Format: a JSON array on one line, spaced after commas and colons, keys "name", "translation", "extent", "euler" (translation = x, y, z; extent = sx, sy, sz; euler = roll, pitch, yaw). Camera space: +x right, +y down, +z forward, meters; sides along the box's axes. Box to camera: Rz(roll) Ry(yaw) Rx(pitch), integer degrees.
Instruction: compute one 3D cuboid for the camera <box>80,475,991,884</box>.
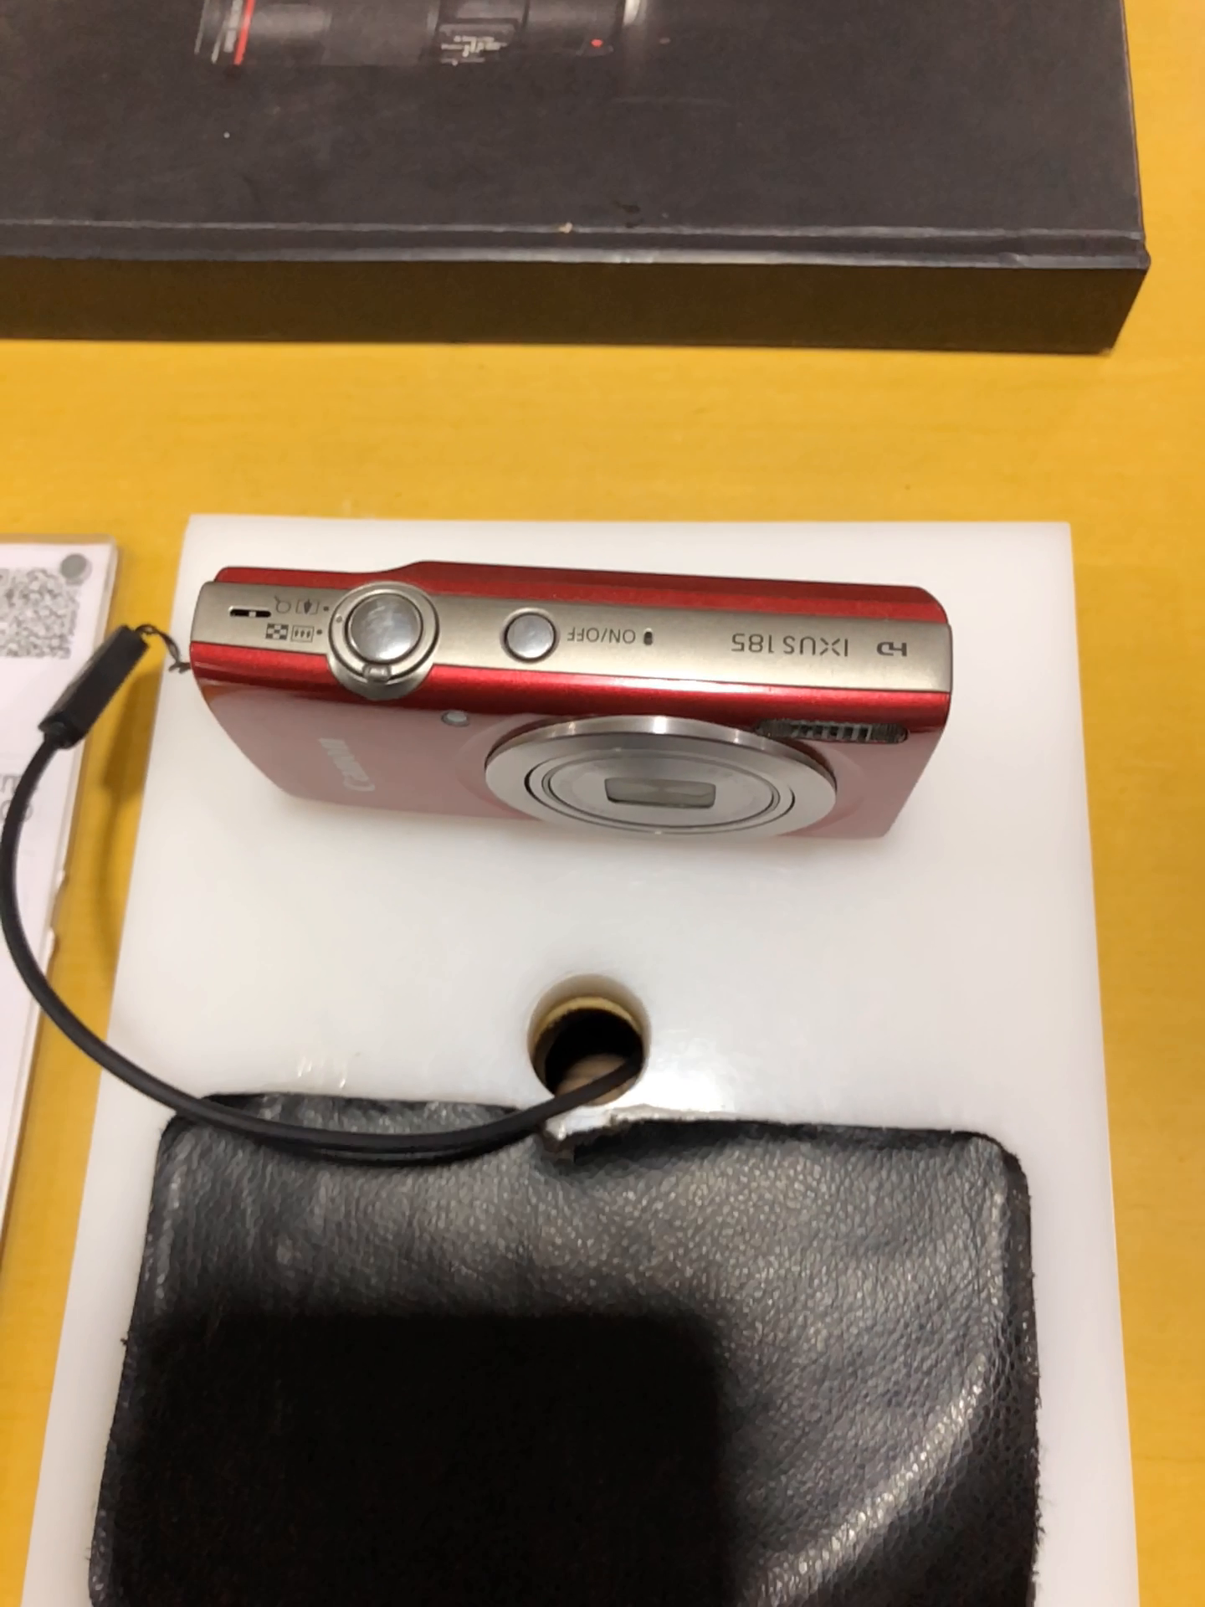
[{"name": "camera", "translation": [-0.006, -0.014, 0.176], "extent": [0.100, 0.050, 0.030], "euler": [4, 72, 4]}]
